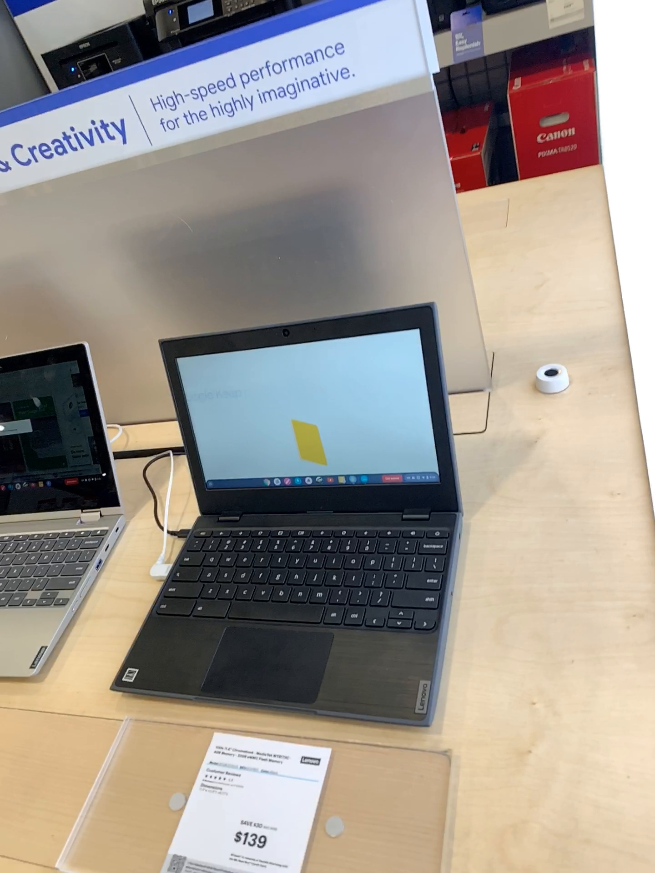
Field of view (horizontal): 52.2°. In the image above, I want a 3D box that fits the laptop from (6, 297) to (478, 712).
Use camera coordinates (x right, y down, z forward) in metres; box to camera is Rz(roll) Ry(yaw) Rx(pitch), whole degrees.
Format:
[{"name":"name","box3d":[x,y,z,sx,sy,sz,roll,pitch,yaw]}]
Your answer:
[{"name":"laptop","box3d":[-0.041,0.048,0.560,0.276,0.170,0.266,-4,40,24]}]
